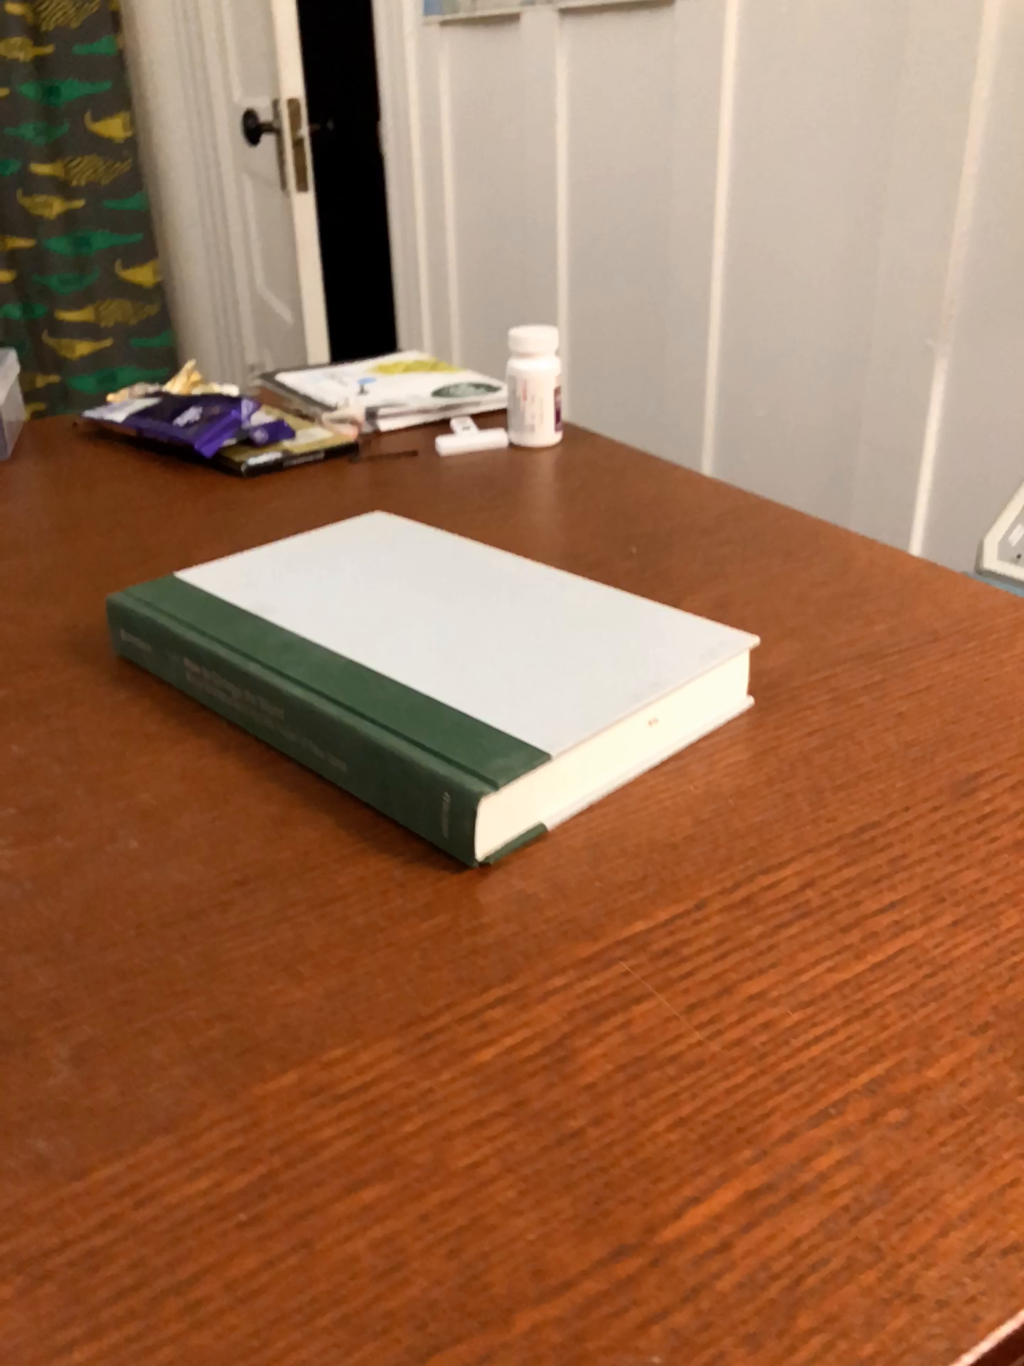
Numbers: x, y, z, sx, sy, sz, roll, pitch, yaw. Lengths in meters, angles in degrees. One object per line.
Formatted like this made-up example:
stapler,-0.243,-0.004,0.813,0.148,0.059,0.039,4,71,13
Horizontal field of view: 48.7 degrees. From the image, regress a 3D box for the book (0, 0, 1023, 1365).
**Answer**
book,0.179,-0.277,0.162,1.001,0.994,1.005,11,30,23
